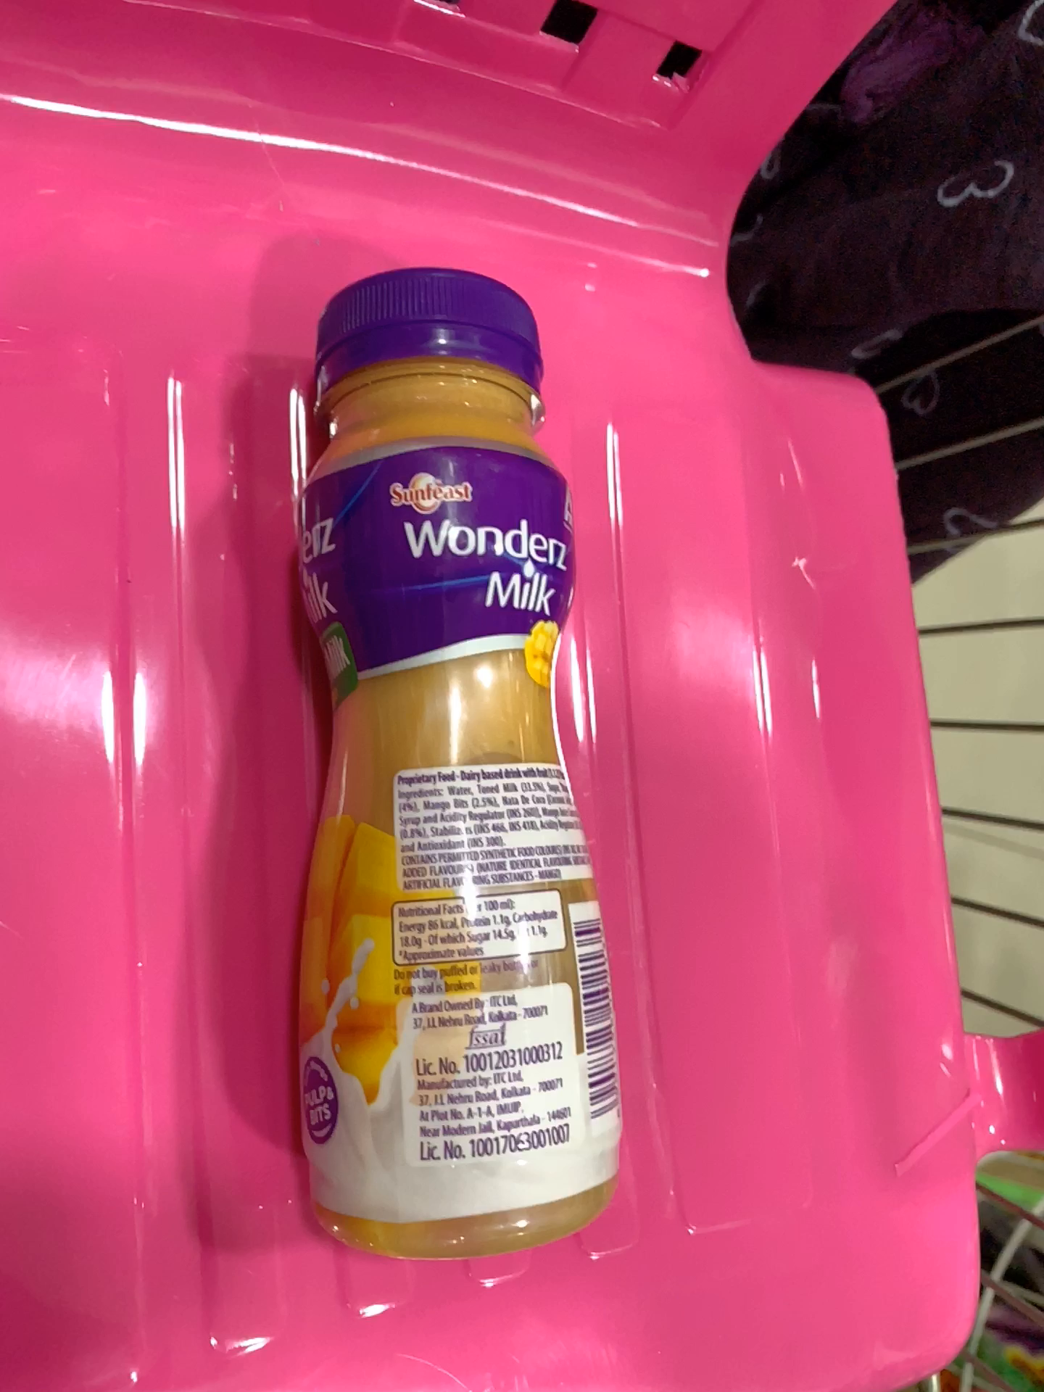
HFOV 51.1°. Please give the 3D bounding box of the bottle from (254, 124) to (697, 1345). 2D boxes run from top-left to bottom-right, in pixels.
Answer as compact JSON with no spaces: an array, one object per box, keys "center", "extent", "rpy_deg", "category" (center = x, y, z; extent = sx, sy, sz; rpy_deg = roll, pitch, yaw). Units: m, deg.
[{"center":[-0.011,0.004,0.176],"extent":[0.050,0.050,0.160],"rpy_deg":[0,85,-25],"category":"bottle"}]
